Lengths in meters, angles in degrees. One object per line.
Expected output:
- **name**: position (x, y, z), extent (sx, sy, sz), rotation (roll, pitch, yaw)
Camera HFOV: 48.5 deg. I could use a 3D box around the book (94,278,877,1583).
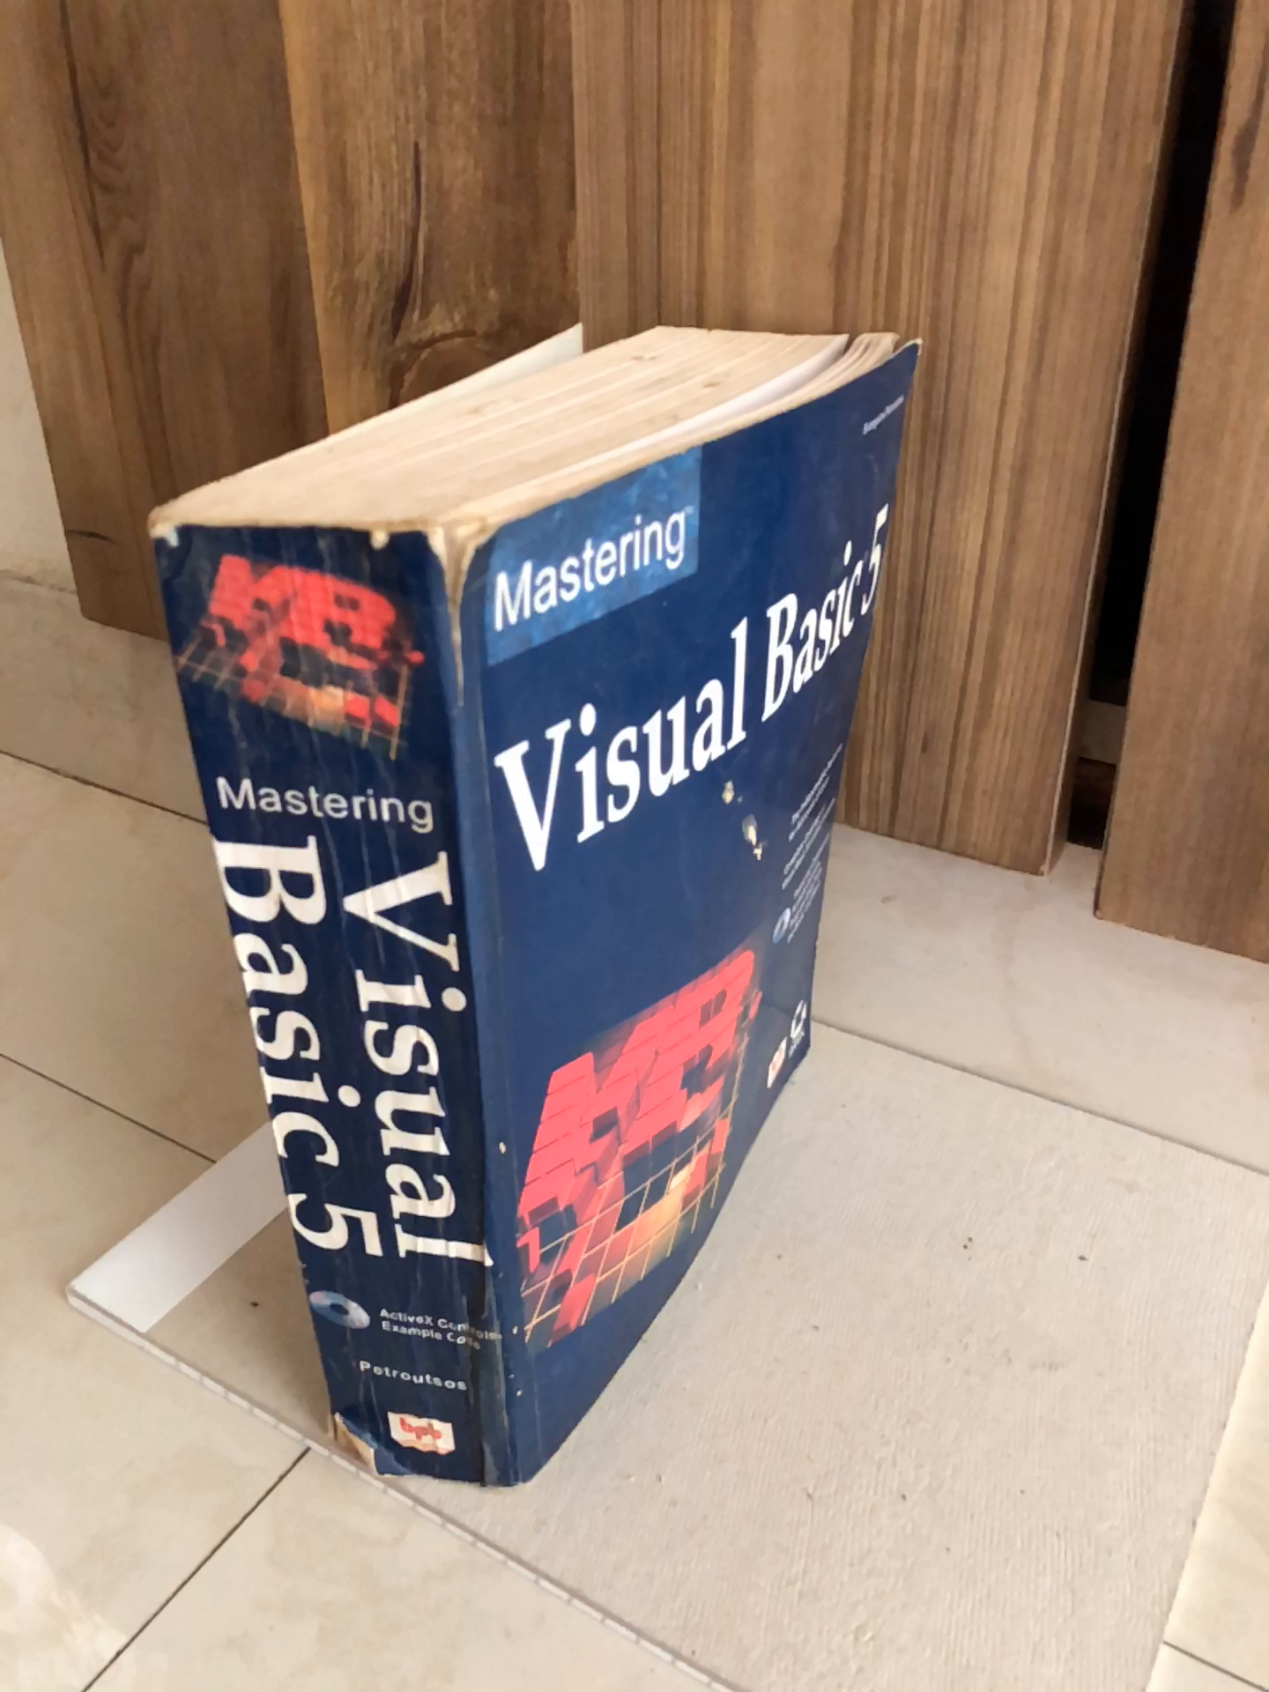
- **book**: position (-0.005, 0.005, 0.355), extent (0.060, 0.249, 0.211), rotation (11, 32, 25)
